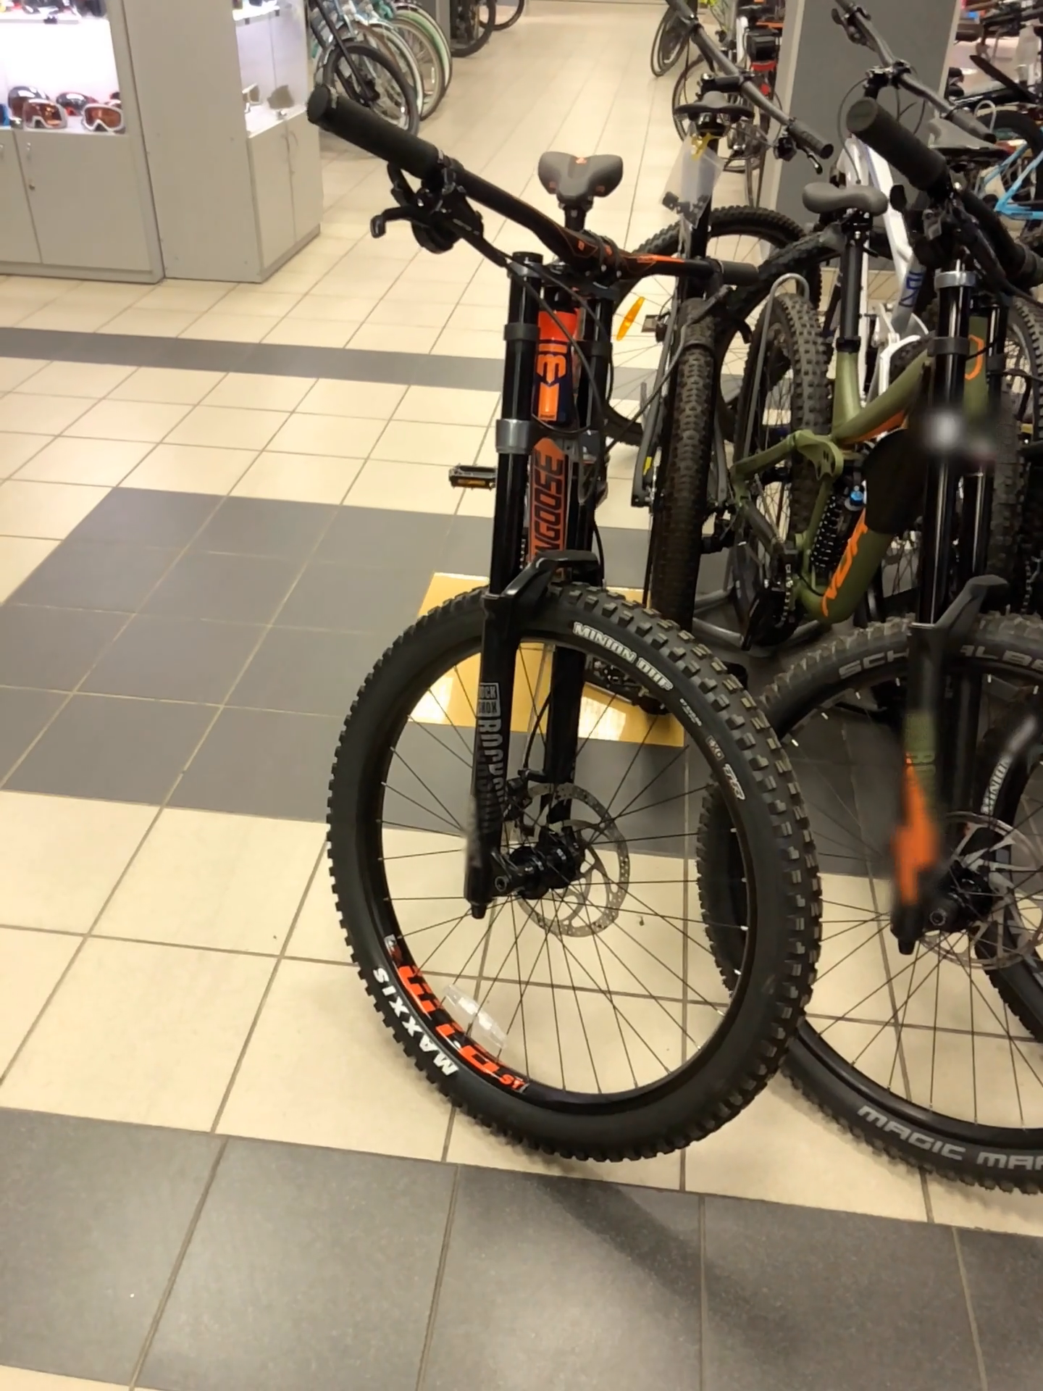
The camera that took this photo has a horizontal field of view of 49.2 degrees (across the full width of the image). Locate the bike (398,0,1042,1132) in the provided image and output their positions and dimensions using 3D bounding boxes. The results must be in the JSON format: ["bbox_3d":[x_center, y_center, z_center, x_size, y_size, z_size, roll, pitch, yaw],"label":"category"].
[{"bbox_3d":[0.244,-0.417,1.780,0.800,1.109,1.707,-1,31,-4],"label":"bike"}]
